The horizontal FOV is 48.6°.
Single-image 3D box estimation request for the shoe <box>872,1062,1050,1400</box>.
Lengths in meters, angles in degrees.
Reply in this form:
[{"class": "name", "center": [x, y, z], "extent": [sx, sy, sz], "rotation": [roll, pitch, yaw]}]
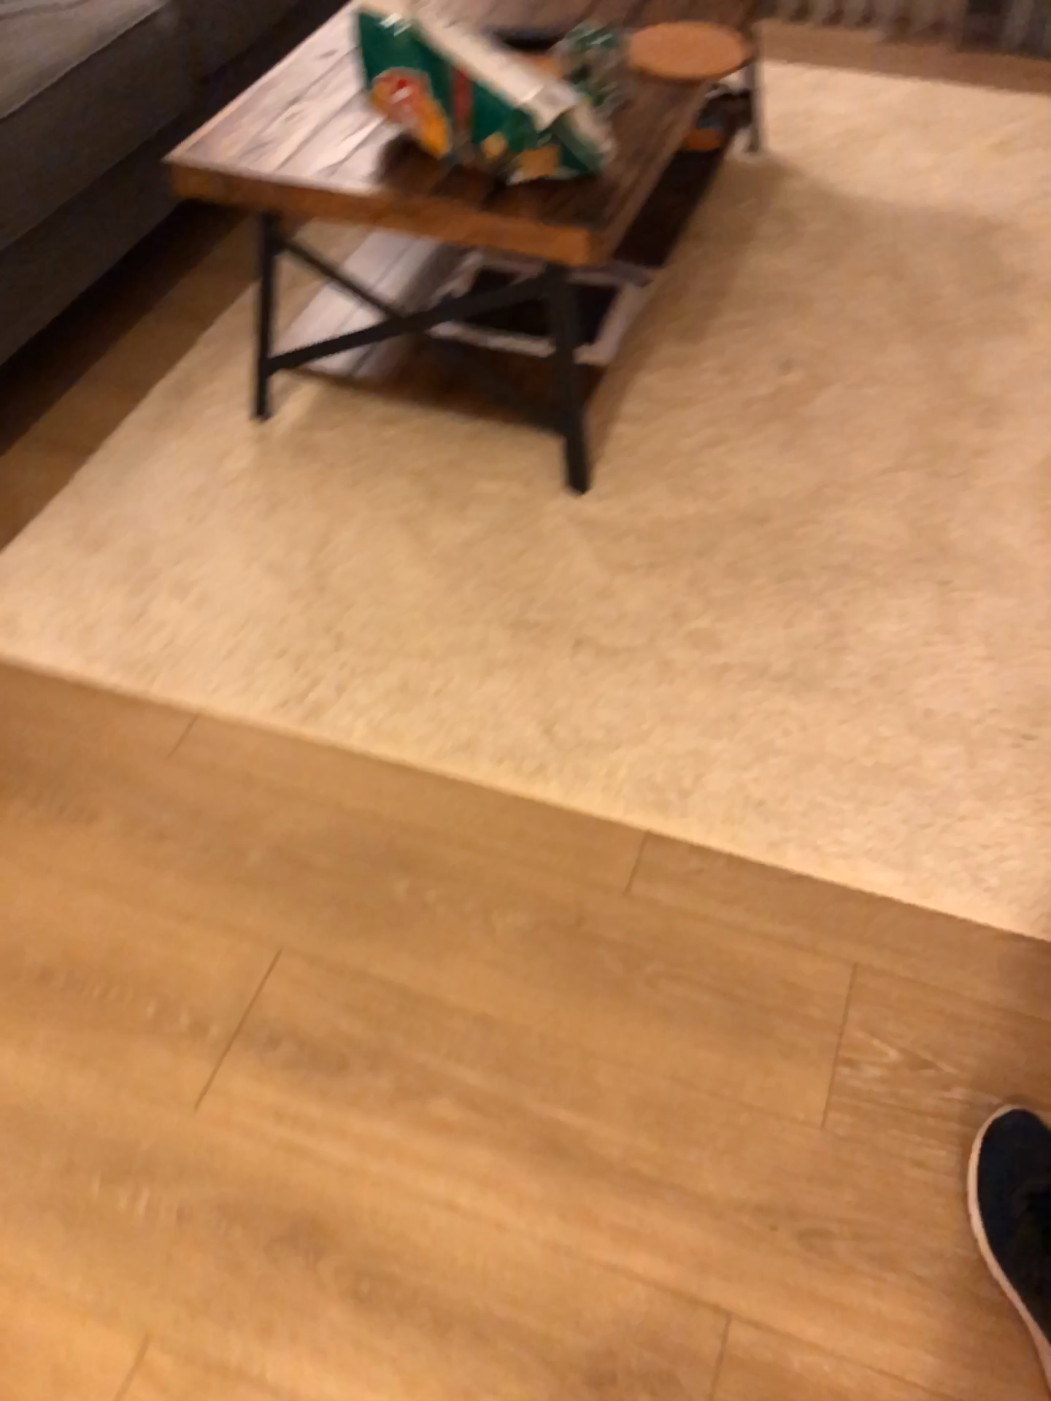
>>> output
[{"class": "shoe", "center": [0.432, 0.489, 1.007], "extent": [0.130, 0.100, 0.301], "rotation": [-10, 51, -7]}]
